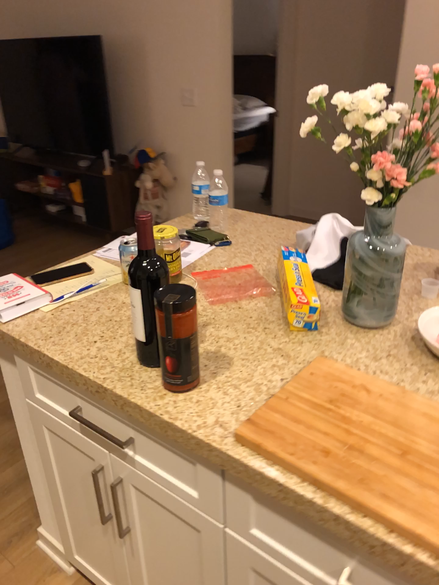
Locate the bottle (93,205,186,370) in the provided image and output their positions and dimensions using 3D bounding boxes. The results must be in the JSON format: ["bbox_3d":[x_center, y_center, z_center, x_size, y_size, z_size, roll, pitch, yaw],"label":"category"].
[{"bbox_3d":[-0.142,-0.010,0.908,0.110,0.278,0.111,-1,26,1],"label":"bottle"}]

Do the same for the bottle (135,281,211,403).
[{"bbox_3d":[-0.078,0.086,0.862,0.090,0.179,0.090,-1,26,1],"label":"bottle"}]
